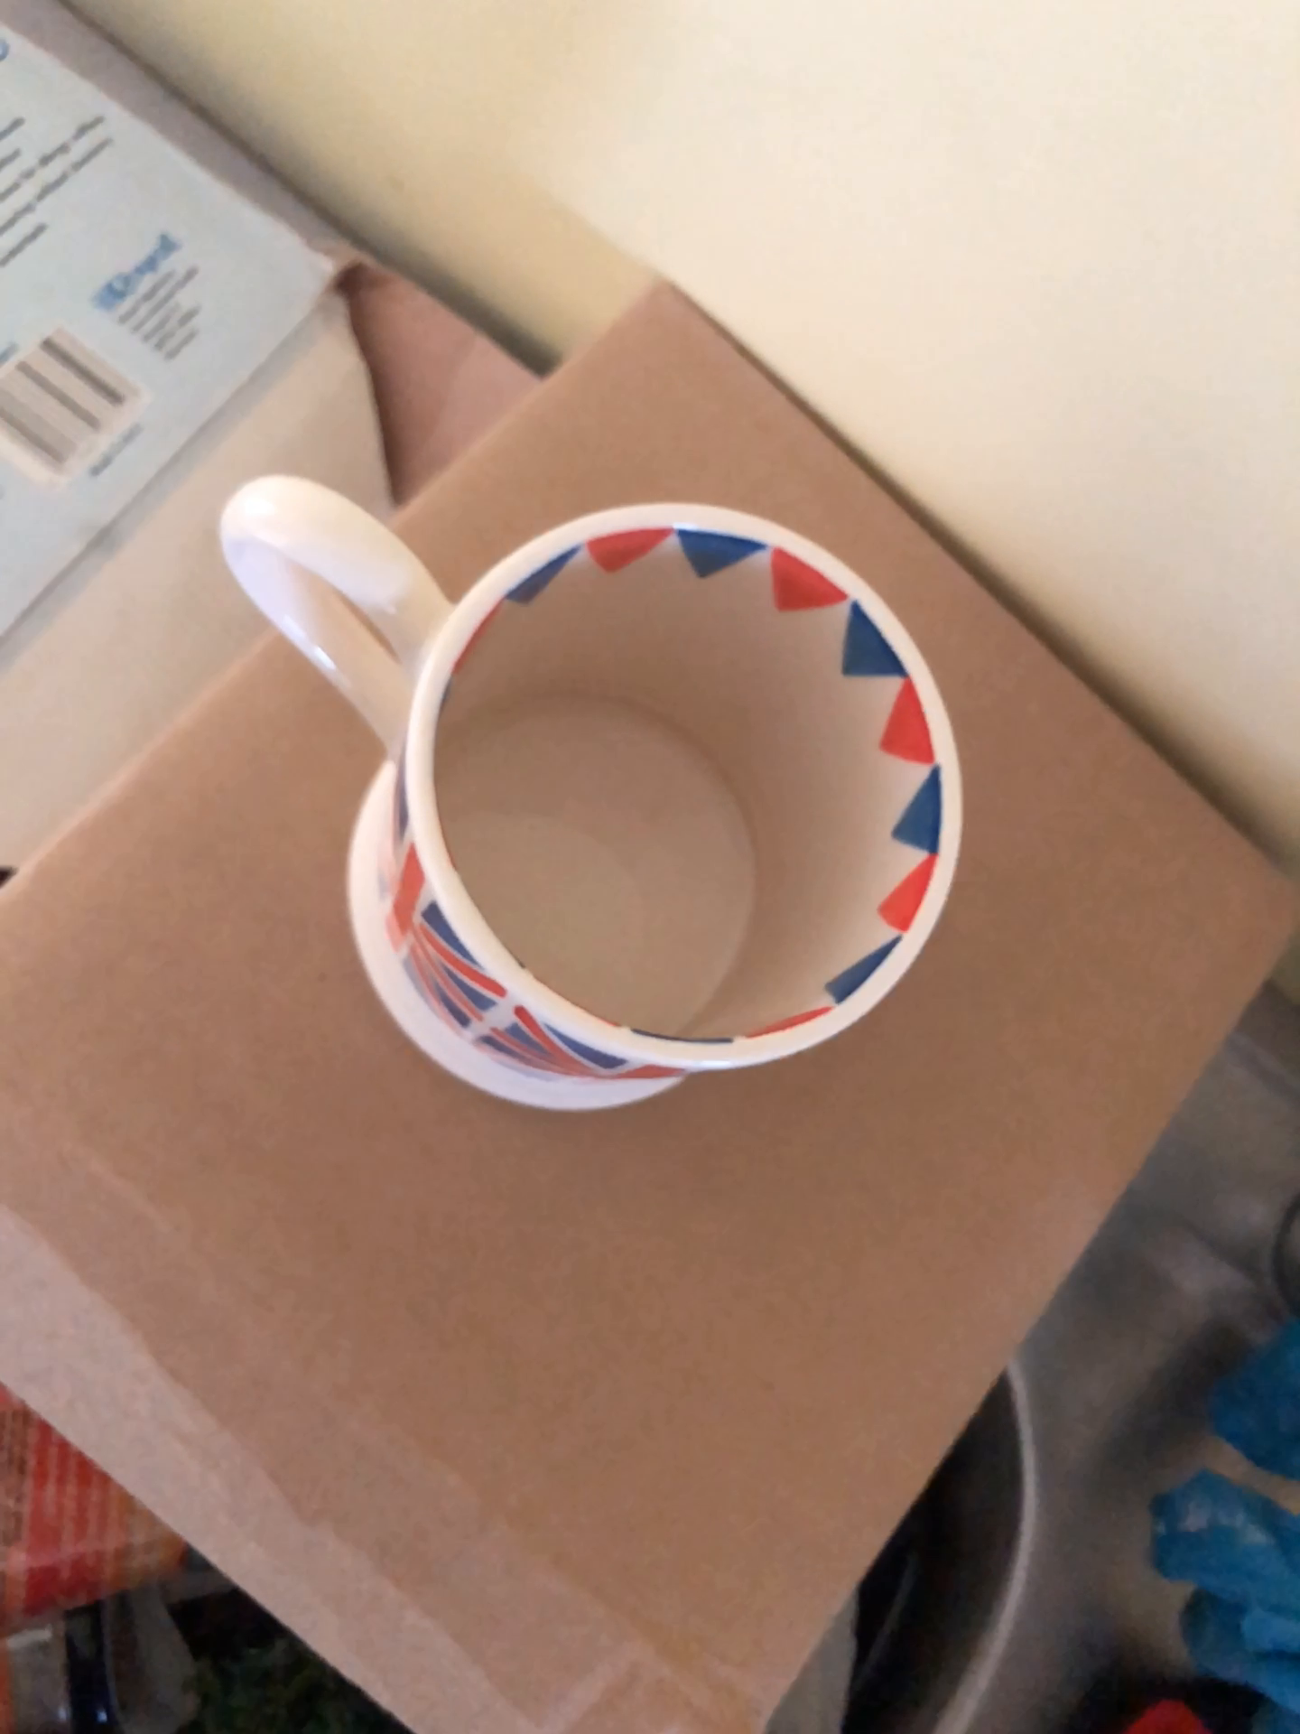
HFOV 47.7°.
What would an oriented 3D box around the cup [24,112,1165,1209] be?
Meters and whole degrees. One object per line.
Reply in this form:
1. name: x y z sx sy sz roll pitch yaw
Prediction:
1. cup: -0.012 -0.024 0.255 0.130 0.100 0.100 43 73 -1
